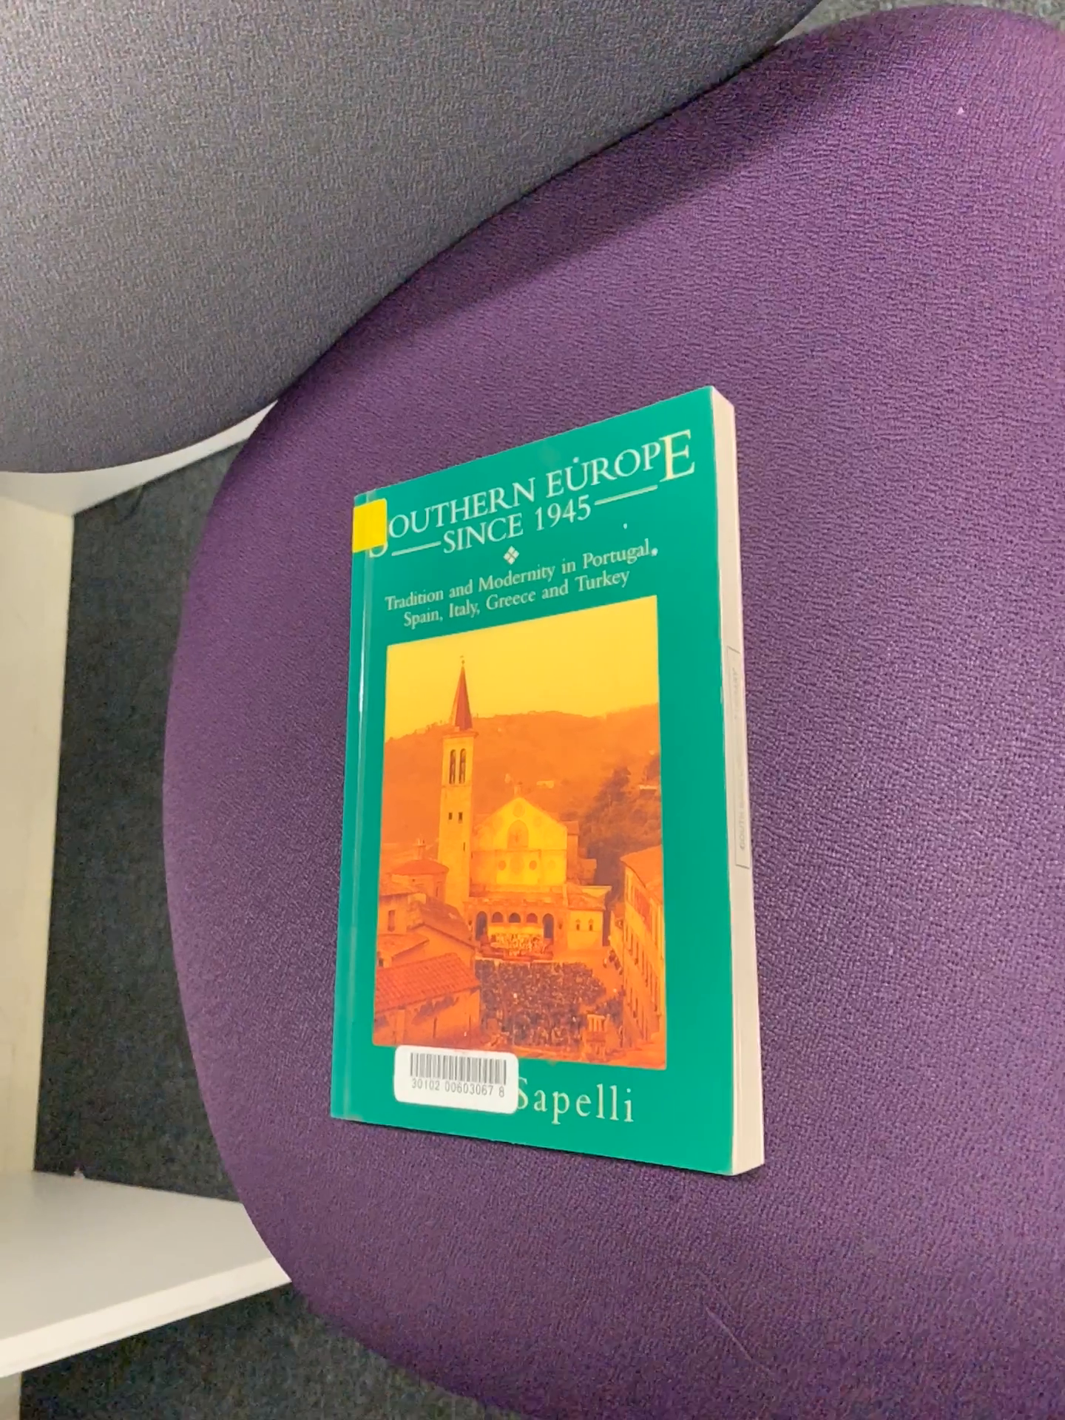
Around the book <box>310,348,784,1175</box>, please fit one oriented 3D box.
[{"bbox_3d":[-0.004,0.015,0.341,0.154,0.020,0.221,-8,76,34],"label":"book"}]
